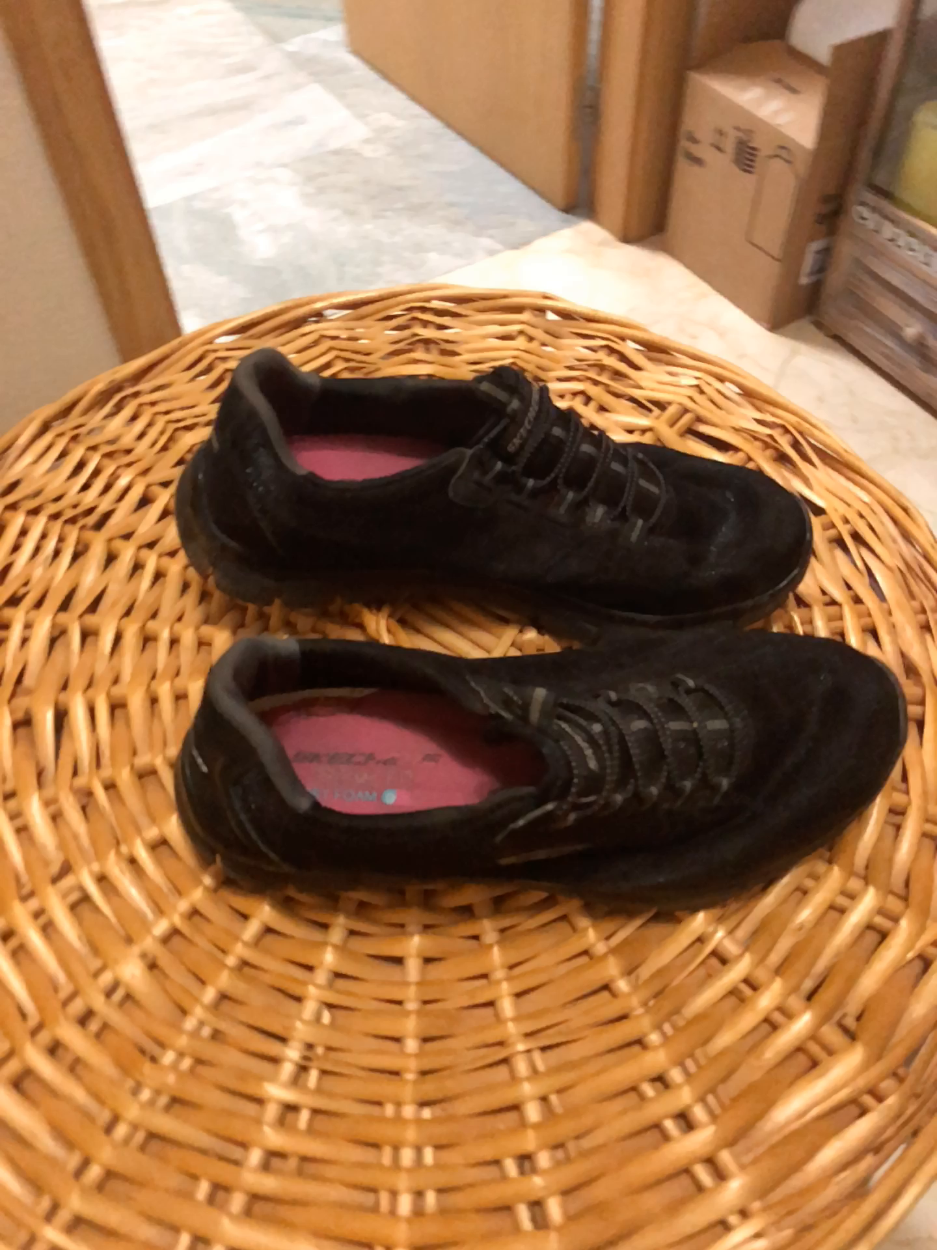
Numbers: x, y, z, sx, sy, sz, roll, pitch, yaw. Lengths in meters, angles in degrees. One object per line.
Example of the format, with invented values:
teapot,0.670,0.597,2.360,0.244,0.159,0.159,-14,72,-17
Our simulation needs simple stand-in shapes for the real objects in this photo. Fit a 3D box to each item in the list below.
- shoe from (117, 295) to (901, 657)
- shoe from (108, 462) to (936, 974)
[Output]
shoe,0.014,-0.060,0.416,0.264,0.079,0.118,-1,53,1
shoe,0.028,0.029,0.352,0.264,0.079,0.118,-7,53,-3
